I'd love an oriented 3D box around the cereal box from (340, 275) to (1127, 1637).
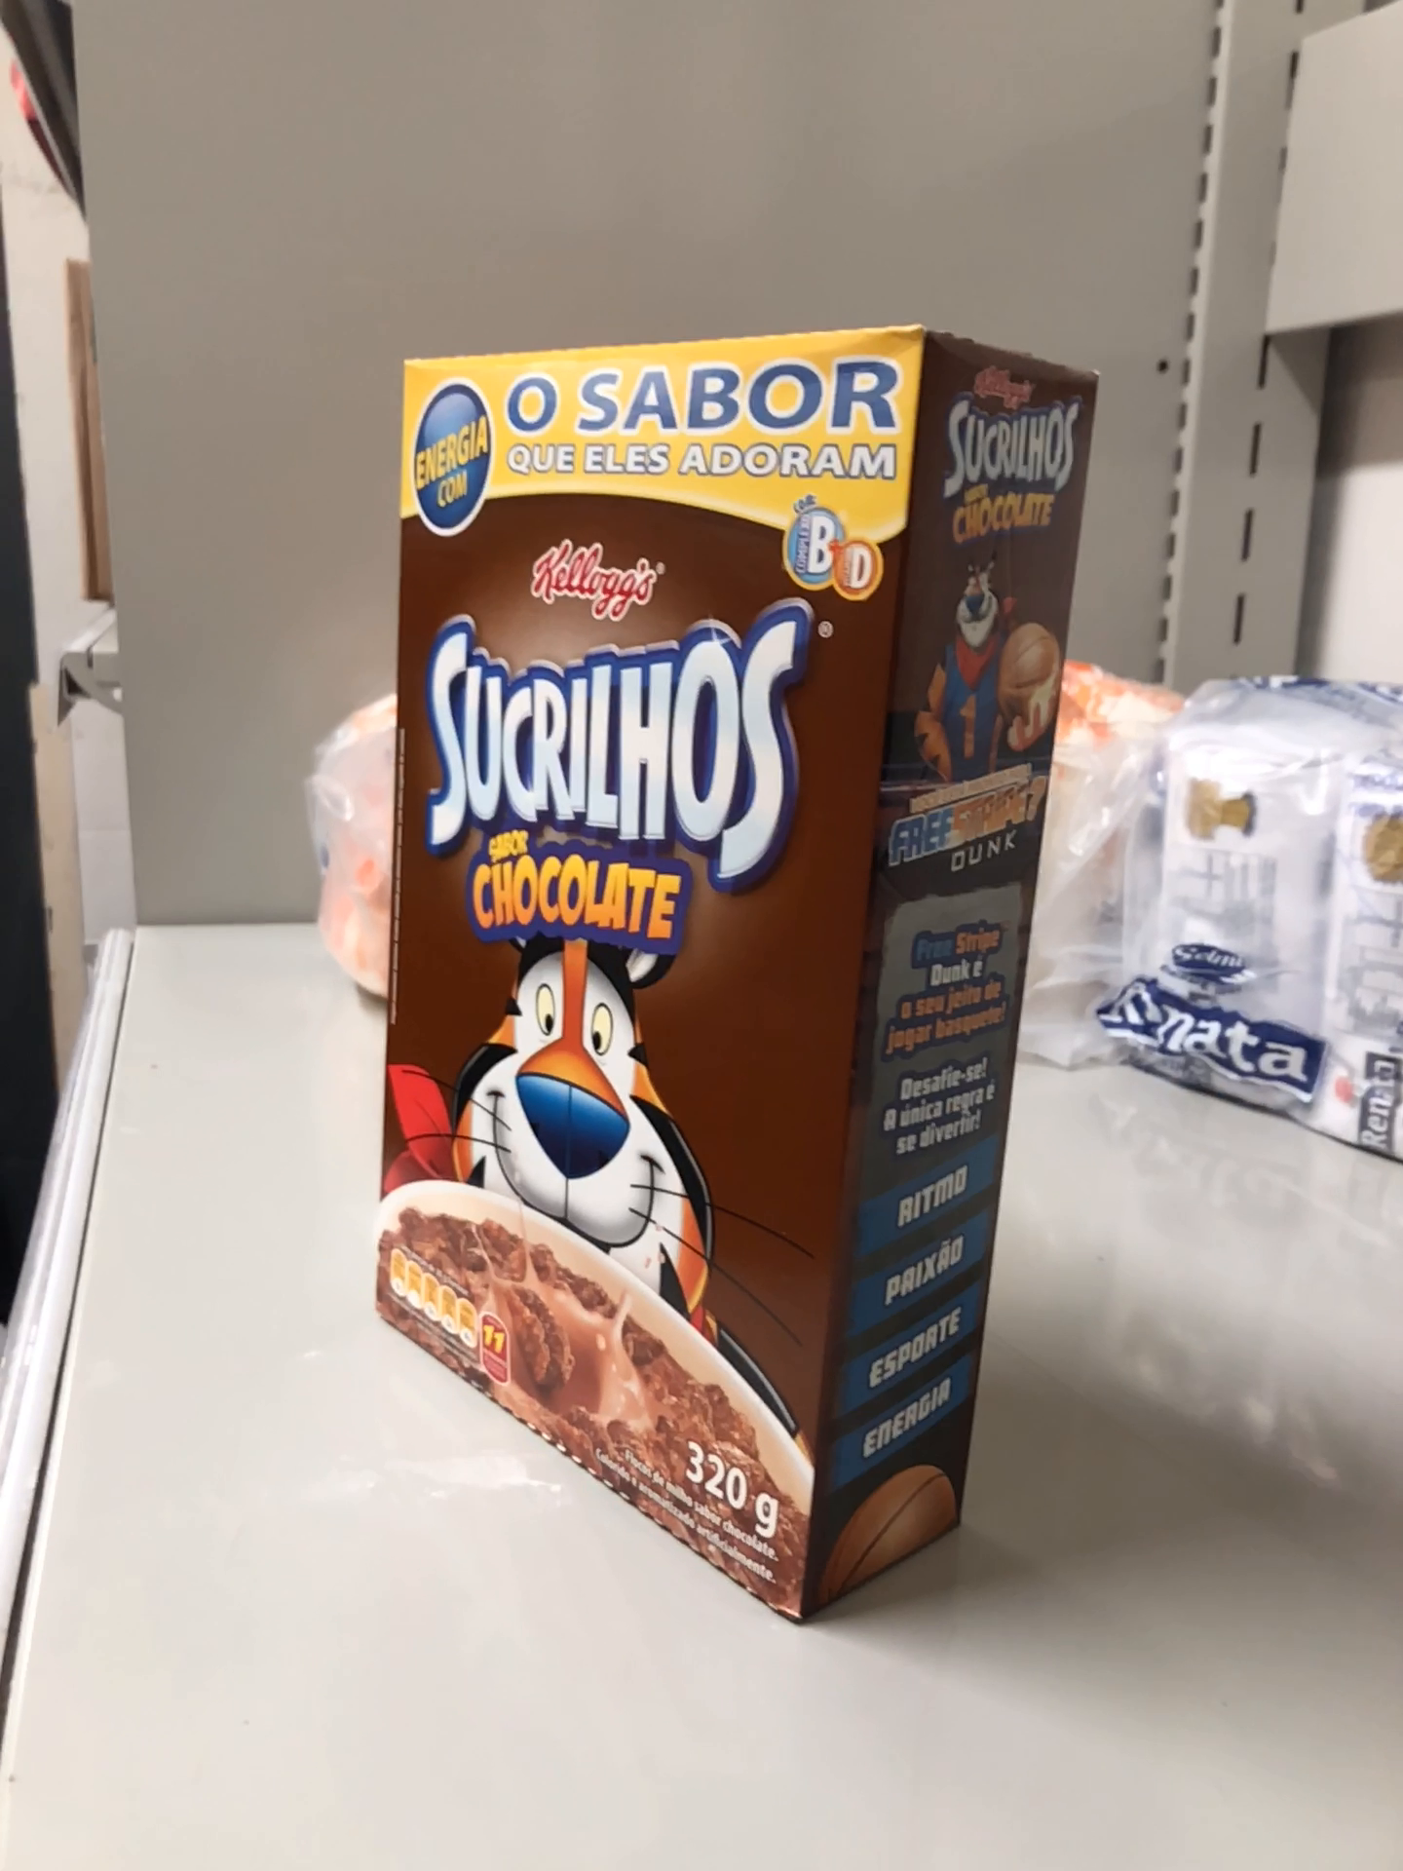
[{"bbox_3d":[-0.009,-0.007,0.385,0.070,0.269,0.180,-8,18,-43],"label":"cereal box"}]
